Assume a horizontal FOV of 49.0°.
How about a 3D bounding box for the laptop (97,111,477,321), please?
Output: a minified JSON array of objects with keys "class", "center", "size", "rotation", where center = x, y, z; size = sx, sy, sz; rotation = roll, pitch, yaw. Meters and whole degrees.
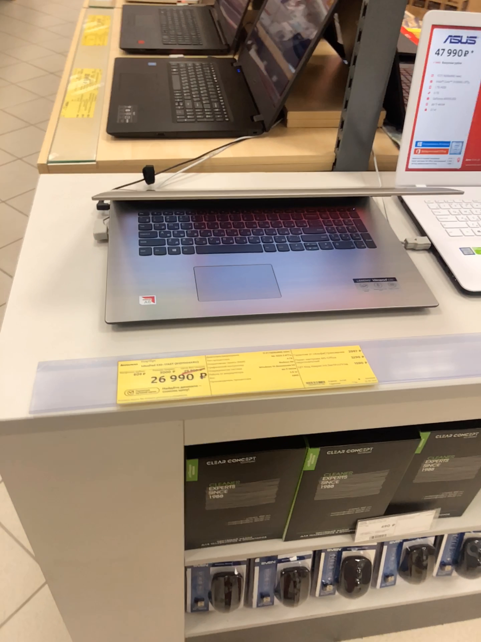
[{"class":"laptop","center":[0.031,-0.152,0.680],"size":[0.398,0.129,0.277],"rotation":[-3,43,-9]}]
